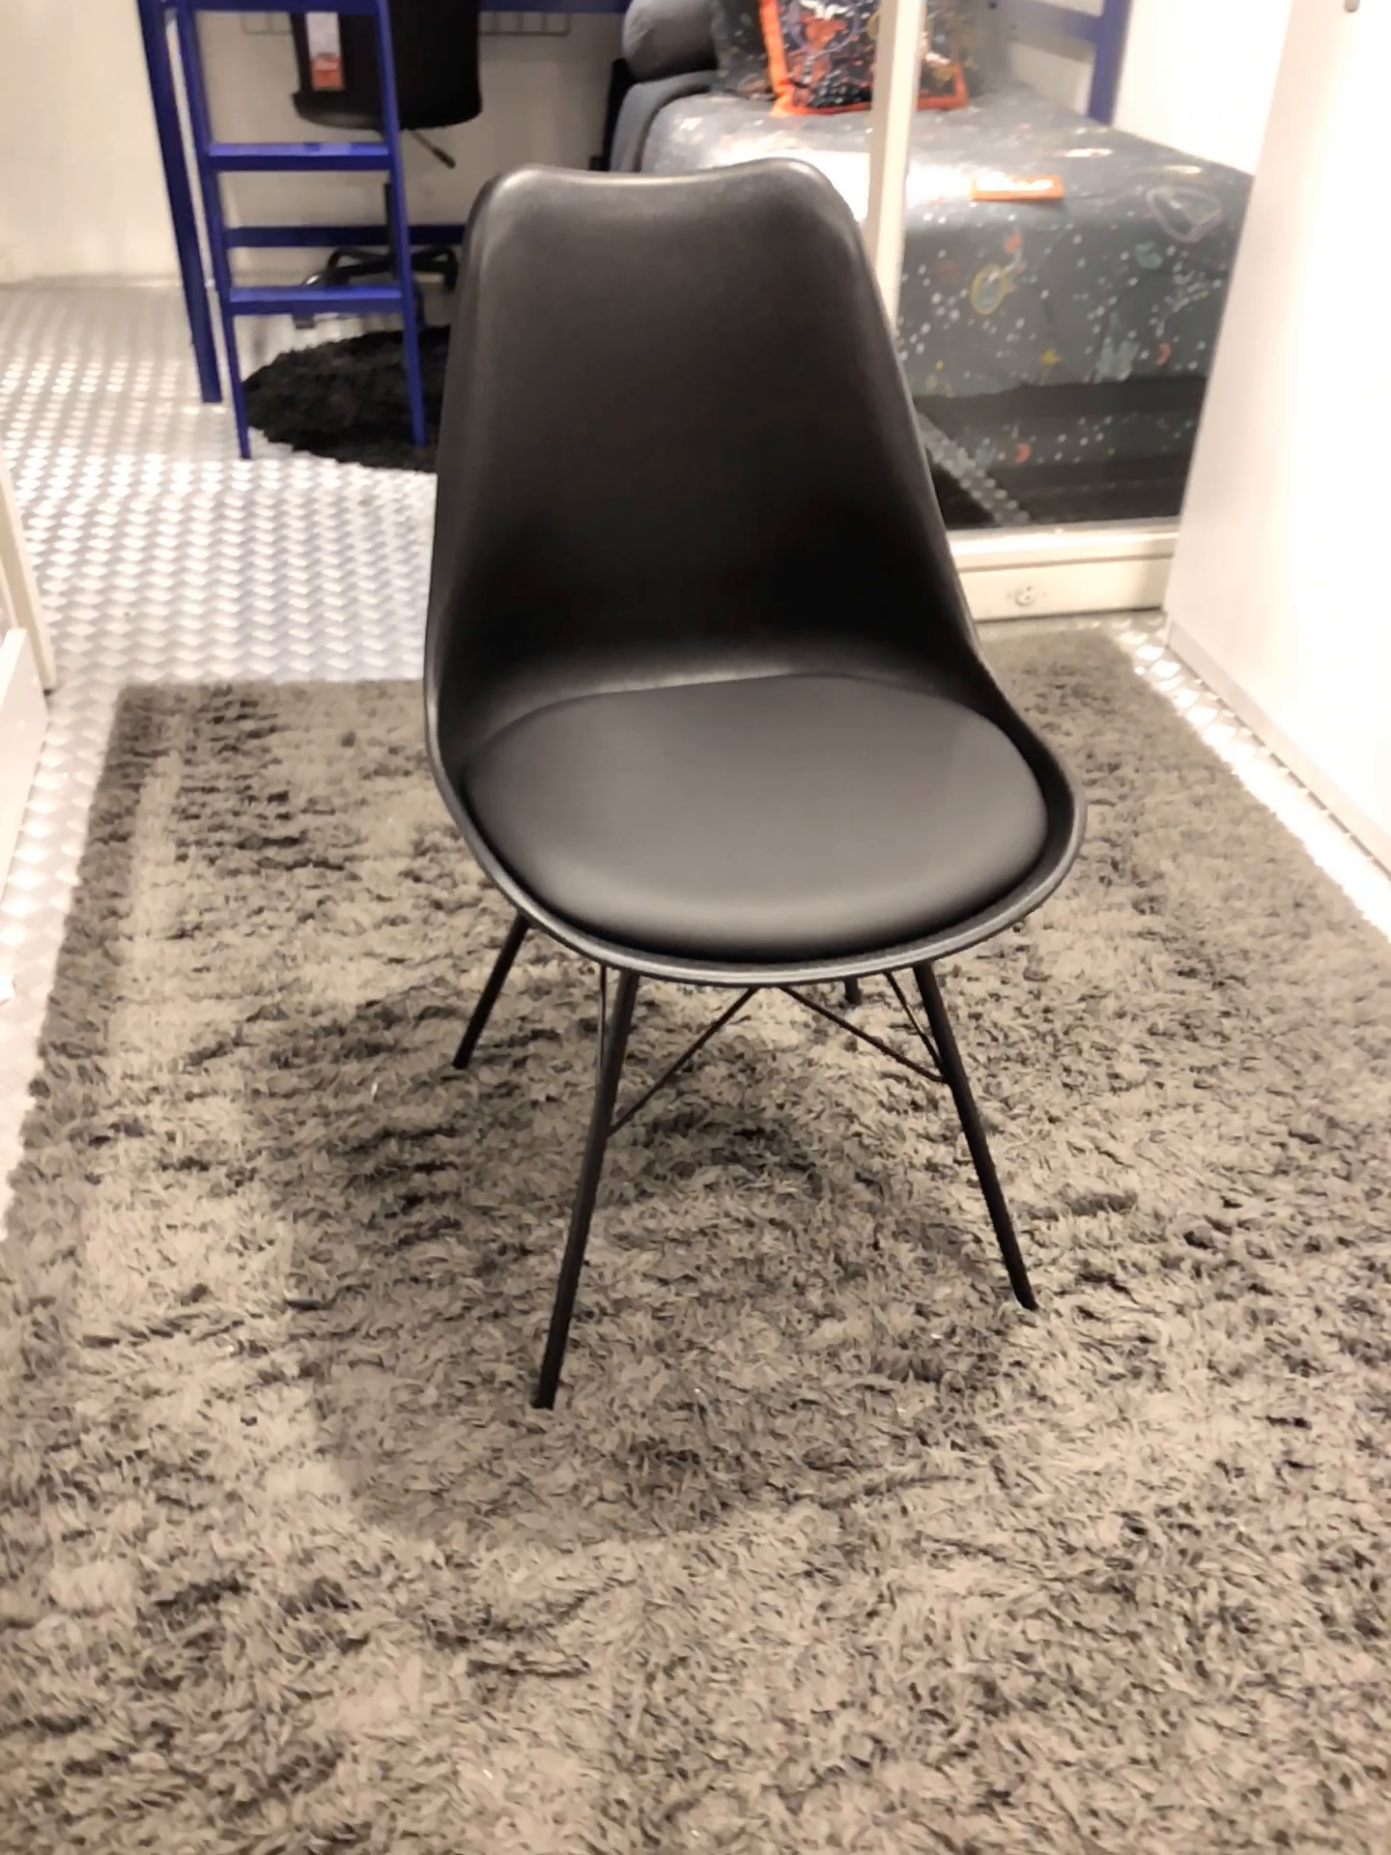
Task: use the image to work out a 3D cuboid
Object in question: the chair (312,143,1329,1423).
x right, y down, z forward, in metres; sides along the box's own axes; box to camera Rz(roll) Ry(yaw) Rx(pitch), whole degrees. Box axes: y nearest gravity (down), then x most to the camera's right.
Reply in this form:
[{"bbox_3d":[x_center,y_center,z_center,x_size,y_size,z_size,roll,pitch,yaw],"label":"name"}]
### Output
[{"bbox_3d":[0.016,-0.126,1.214,0.520,0.804,0.534,-6,36,-11],"label":"chair"}]
